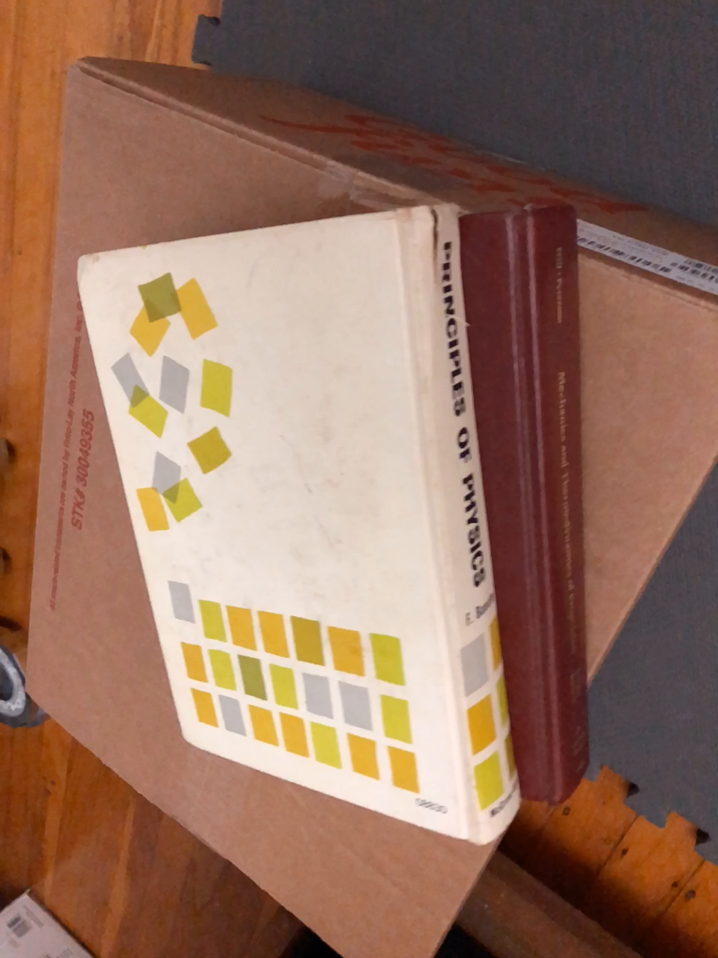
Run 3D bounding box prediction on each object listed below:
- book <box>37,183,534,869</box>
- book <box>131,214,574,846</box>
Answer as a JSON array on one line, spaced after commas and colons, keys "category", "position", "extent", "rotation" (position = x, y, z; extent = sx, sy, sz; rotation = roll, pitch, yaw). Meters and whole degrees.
[{"category": "book", "position": [-0.029, 0.022, 0.333], "extent": [0.180, 0.040, 0.250], "rotation": [4, 112, 32]}, {"category": "book", "position": [0.000, 0.021, 0.354], "extent": [0.180, 0.040, 0.250], "rotation": [7, 113, 31]}]
